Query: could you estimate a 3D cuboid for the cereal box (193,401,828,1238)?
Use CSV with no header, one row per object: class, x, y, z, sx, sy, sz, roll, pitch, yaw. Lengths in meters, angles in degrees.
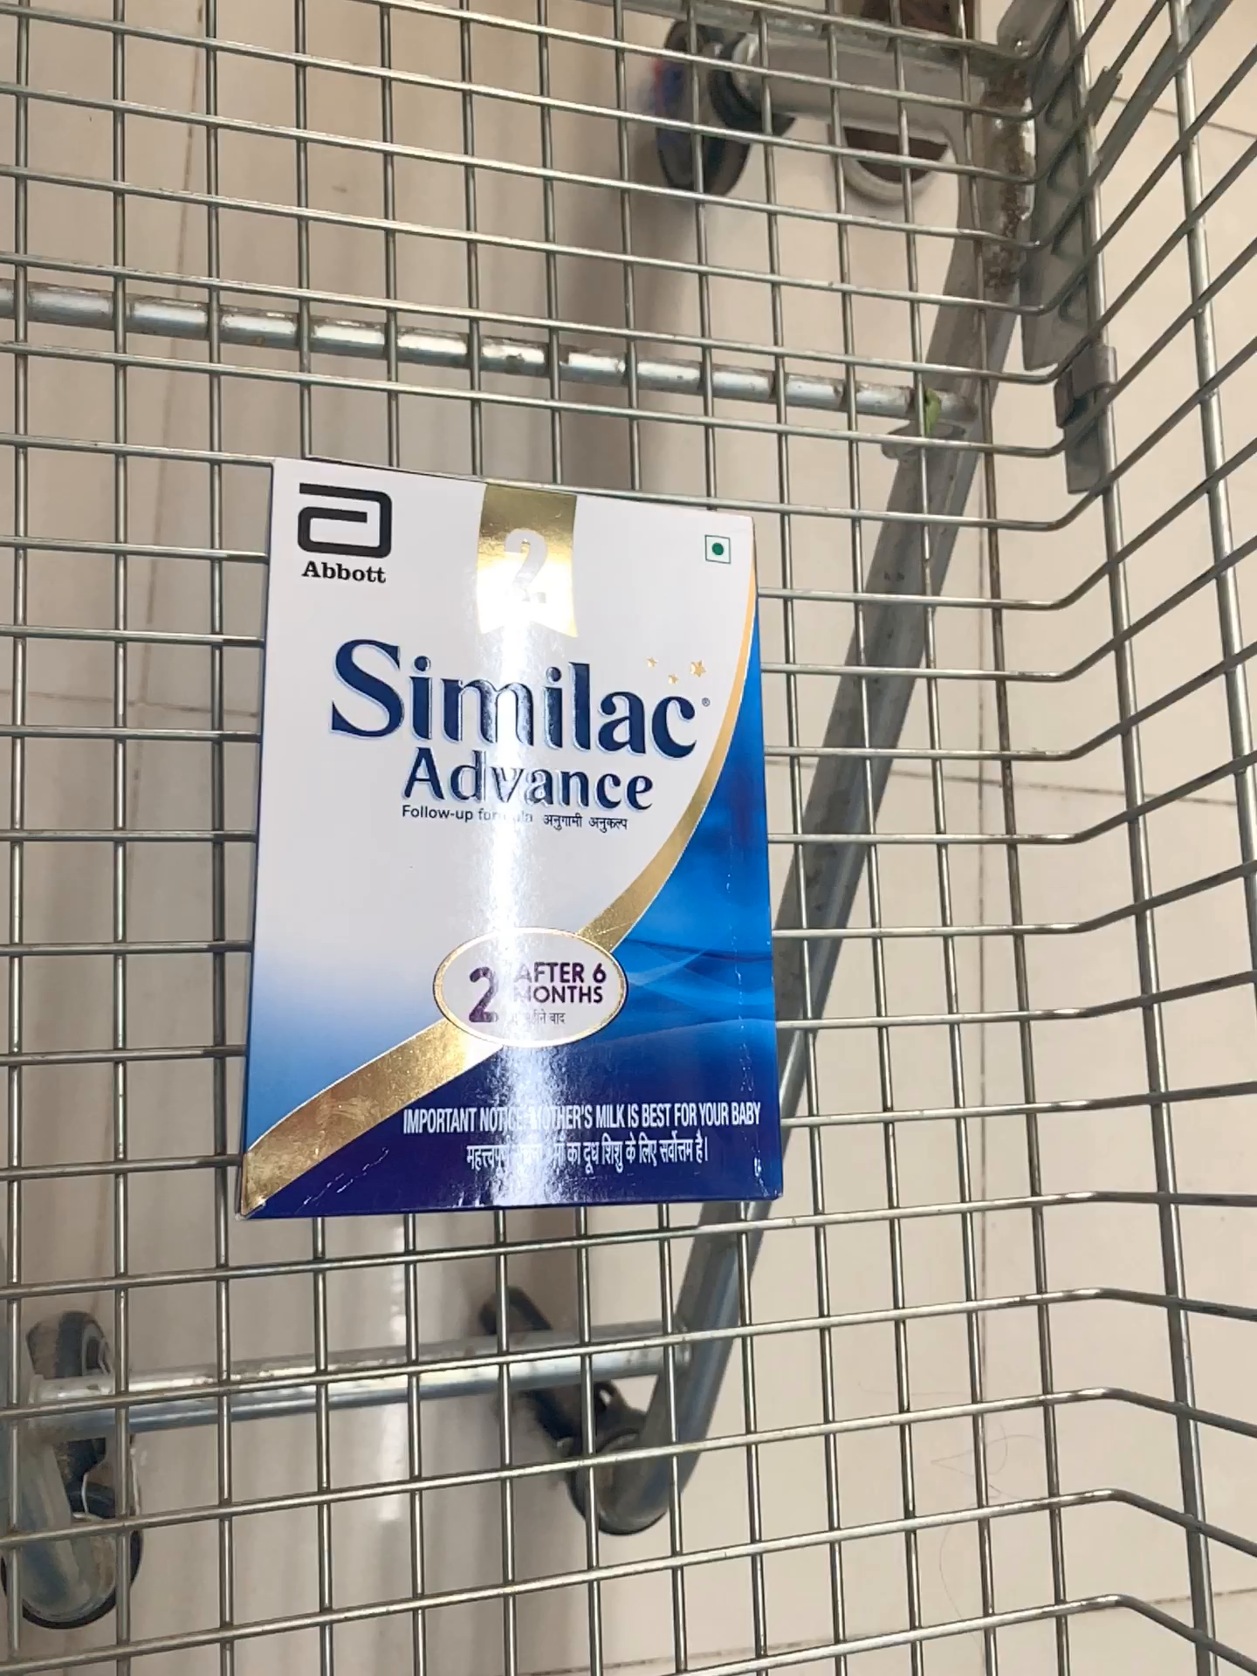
cereal box,-0.032,-0.001,0.350,0.150,0.060,0.200,3,77,-17
